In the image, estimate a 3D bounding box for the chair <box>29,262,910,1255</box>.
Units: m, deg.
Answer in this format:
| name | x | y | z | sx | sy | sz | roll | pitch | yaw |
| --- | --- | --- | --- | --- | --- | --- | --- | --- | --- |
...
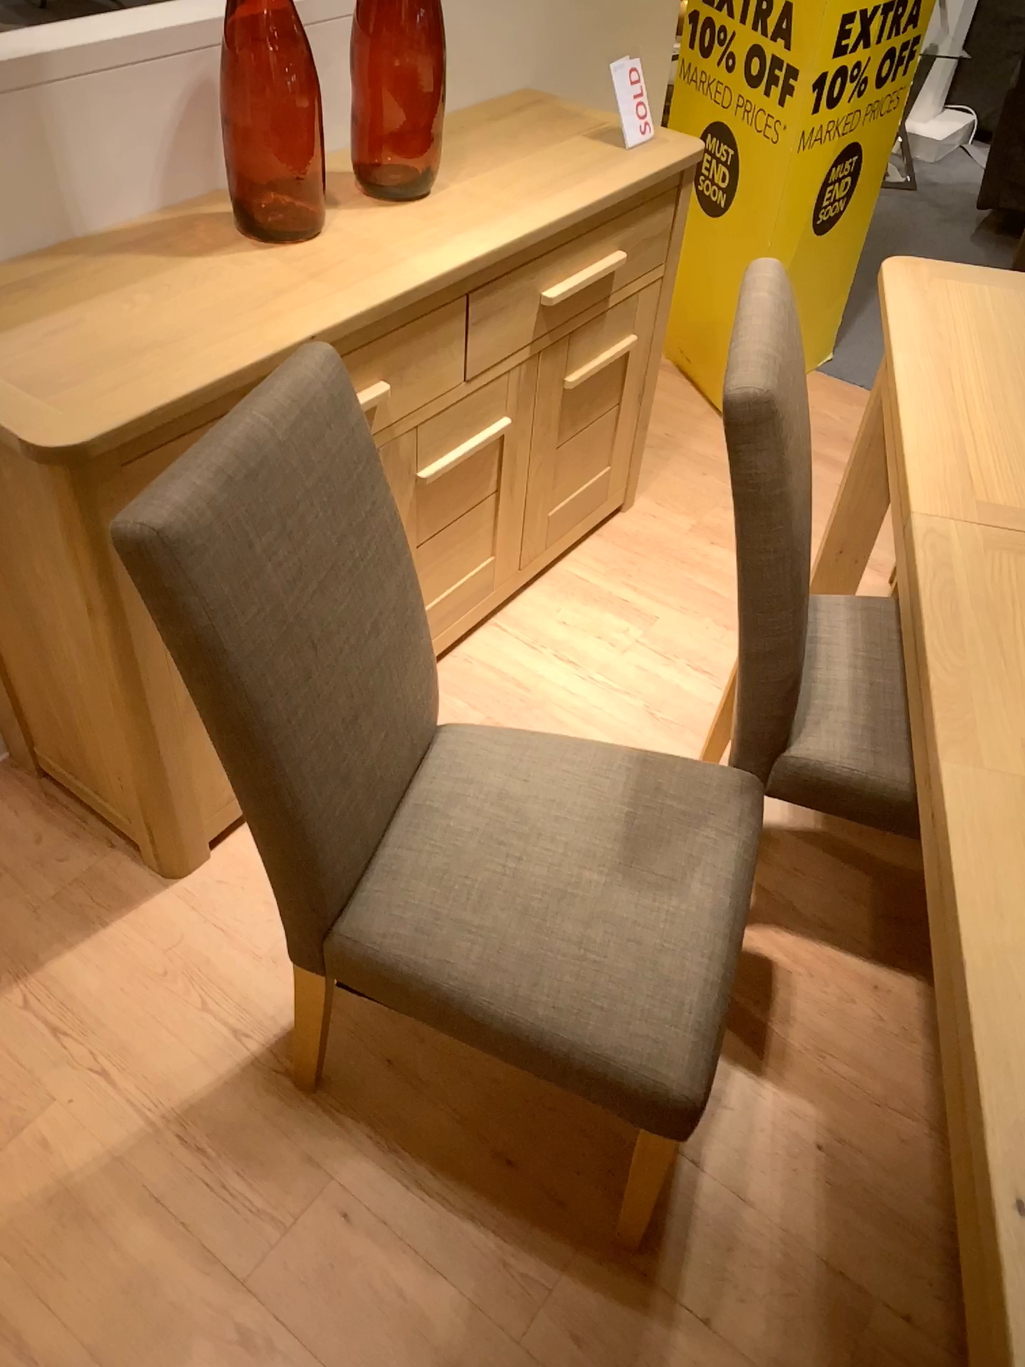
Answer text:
| name | x | y | z | sx | sy | sz | roll | pitch | yaw |
| --- | --- | --- | --- | --- | --- | --- | --- | --- | --- |
| chair | -0.020 | 0.134 | 1.206 | 0.611 | 0.951 | 0.494 | 16 | 45 | 11 |
